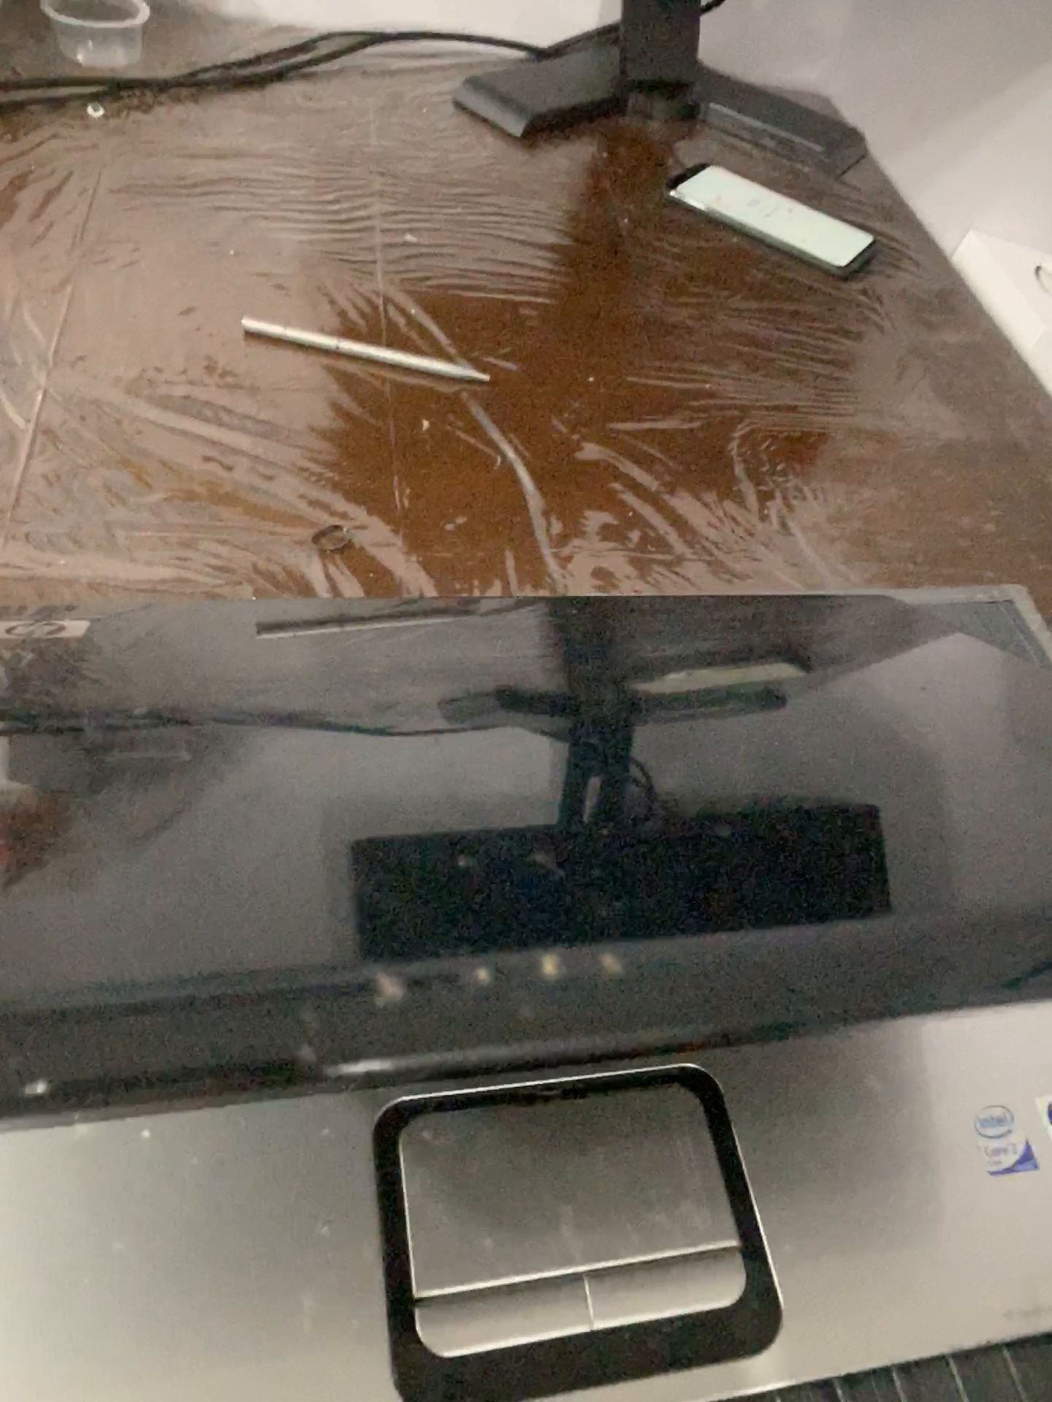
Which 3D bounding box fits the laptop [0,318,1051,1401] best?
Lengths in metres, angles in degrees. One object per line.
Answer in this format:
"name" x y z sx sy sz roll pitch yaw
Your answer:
"laptop" 0.015 0.032 0.279 0.343 0.109 0.244 -3 53 -17
